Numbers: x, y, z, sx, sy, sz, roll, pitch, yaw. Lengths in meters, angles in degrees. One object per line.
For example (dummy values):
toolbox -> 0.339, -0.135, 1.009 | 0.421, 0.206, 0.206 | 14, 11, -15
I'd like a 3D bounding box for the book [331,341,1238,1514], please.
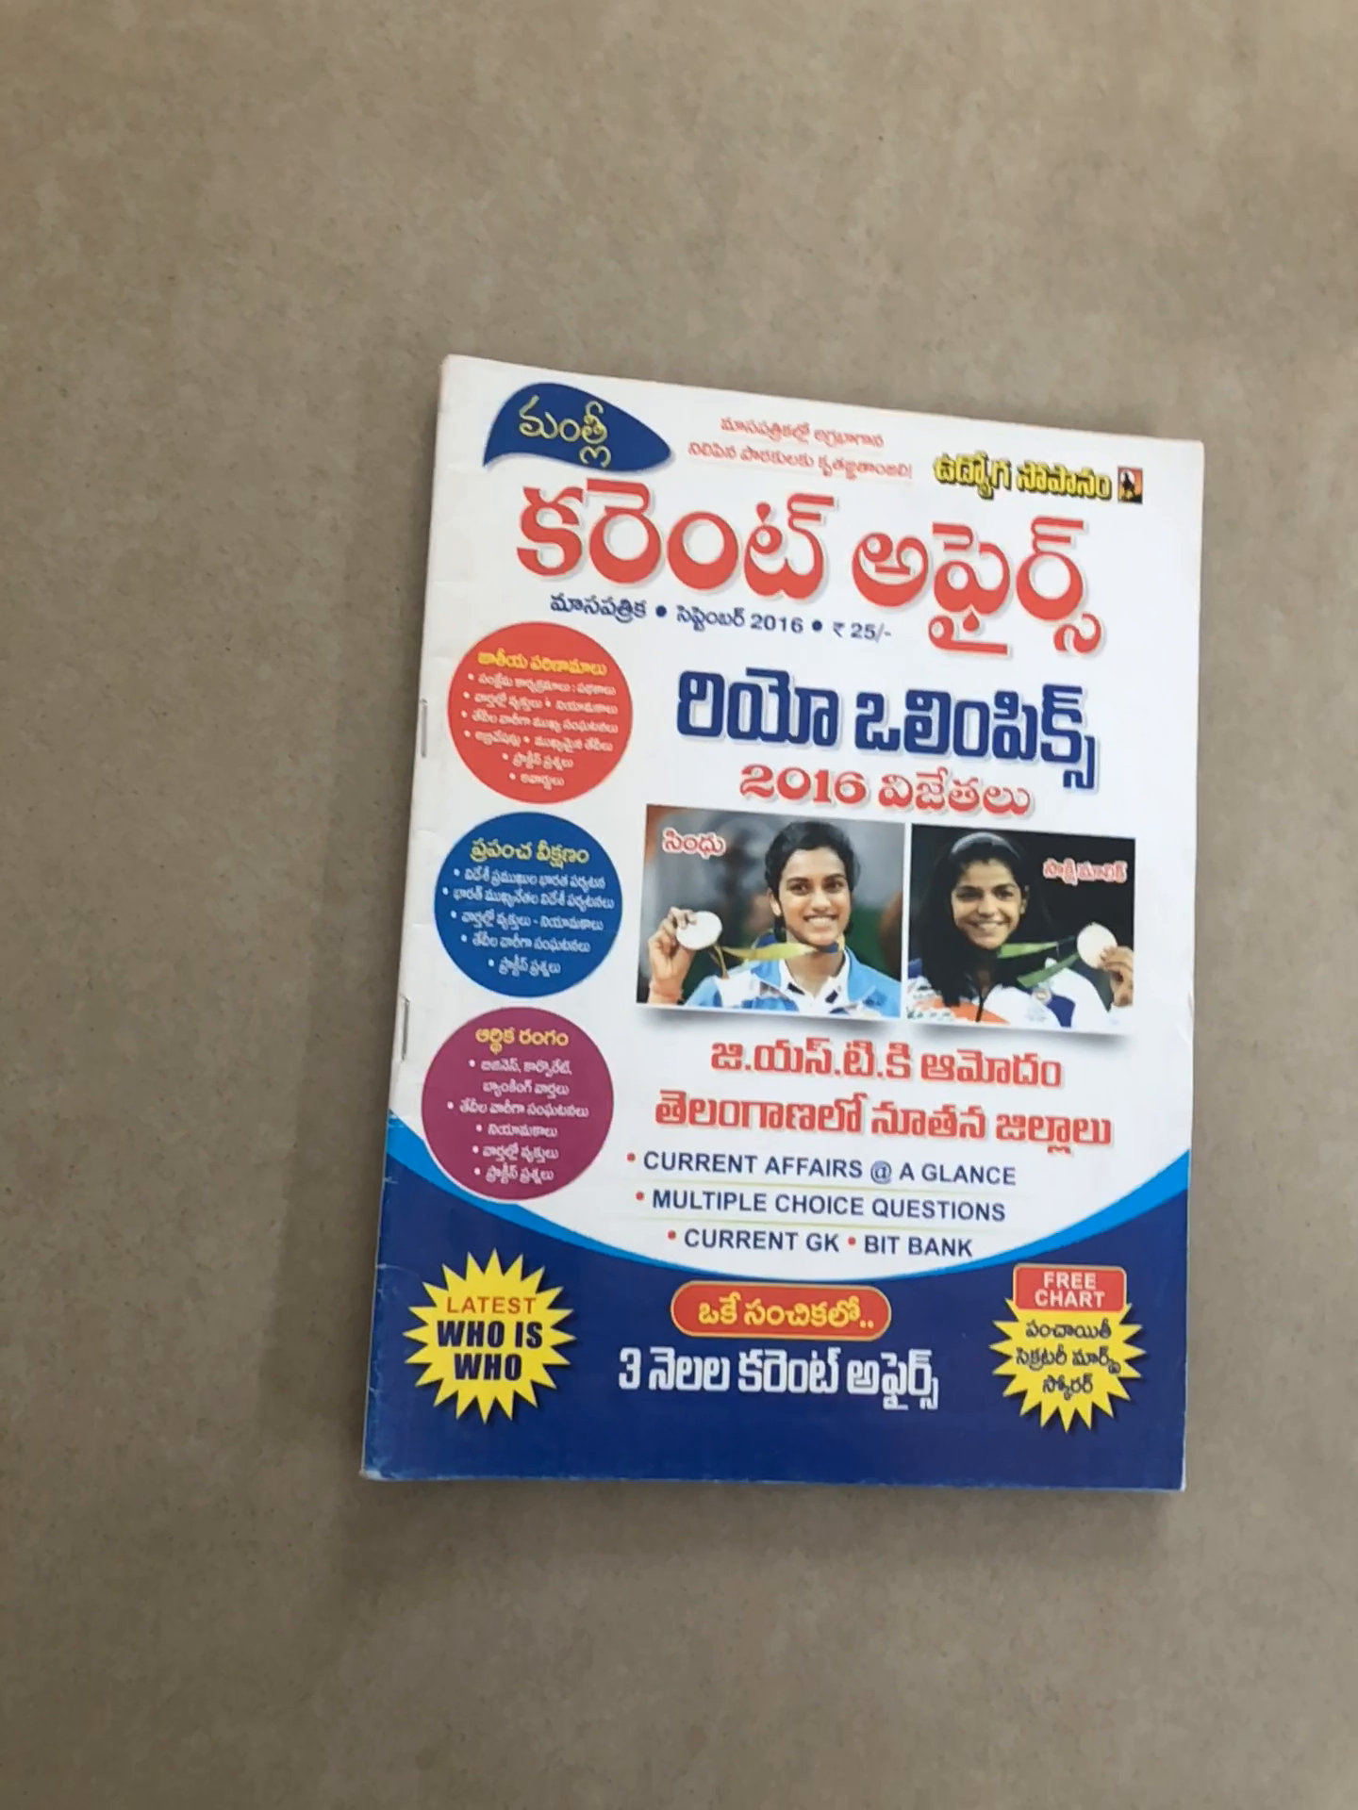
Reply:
book -> 0.032, 0.005, 0.355 | 0.200, 0.010, 0.260 | 5, 84, -7
